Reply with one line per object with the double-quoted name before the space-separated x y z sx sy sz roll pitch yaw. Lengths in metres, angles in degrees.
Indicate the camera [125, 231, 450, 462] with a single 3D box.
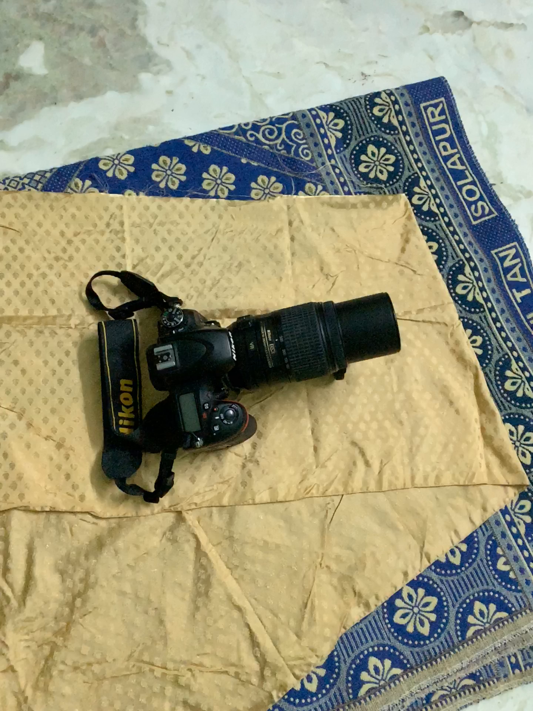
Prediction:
"camera" 0.018 0.007 0.531 0.240 0.180 0.140 -12 77 2
